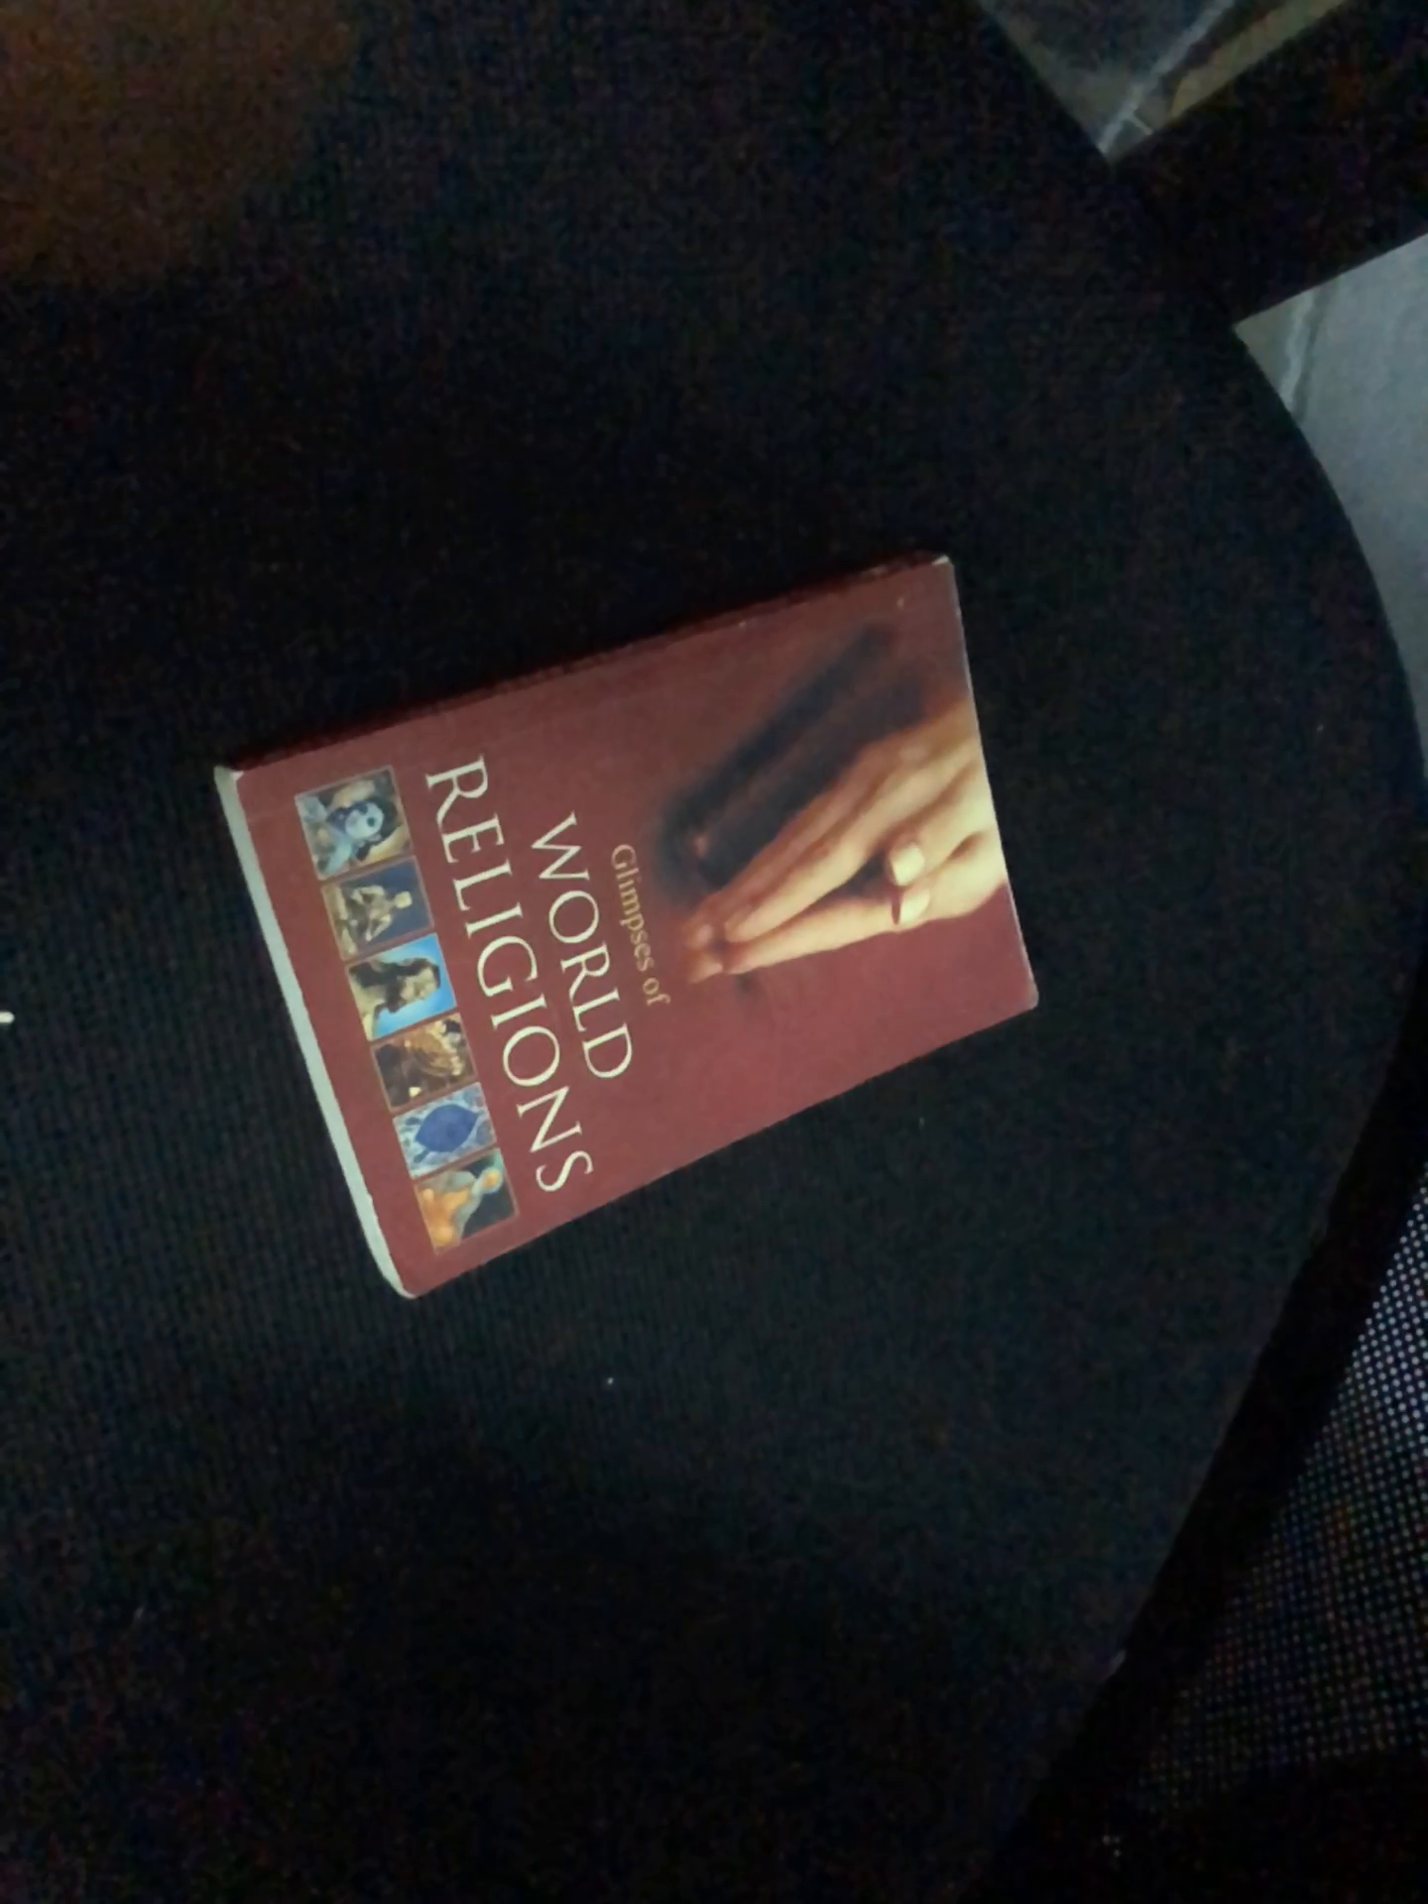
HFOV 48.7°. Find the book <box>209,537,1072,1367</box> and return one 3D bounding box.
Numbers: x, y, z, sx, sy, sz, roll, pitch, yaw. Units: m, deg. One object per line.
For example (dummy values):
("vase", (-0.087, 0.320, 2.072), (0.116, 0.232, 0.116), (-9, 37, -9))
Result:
("book", (-0.001, -0.007, 0.383), (0.201, 0.020, 0.140), (-23, 113, -27))
